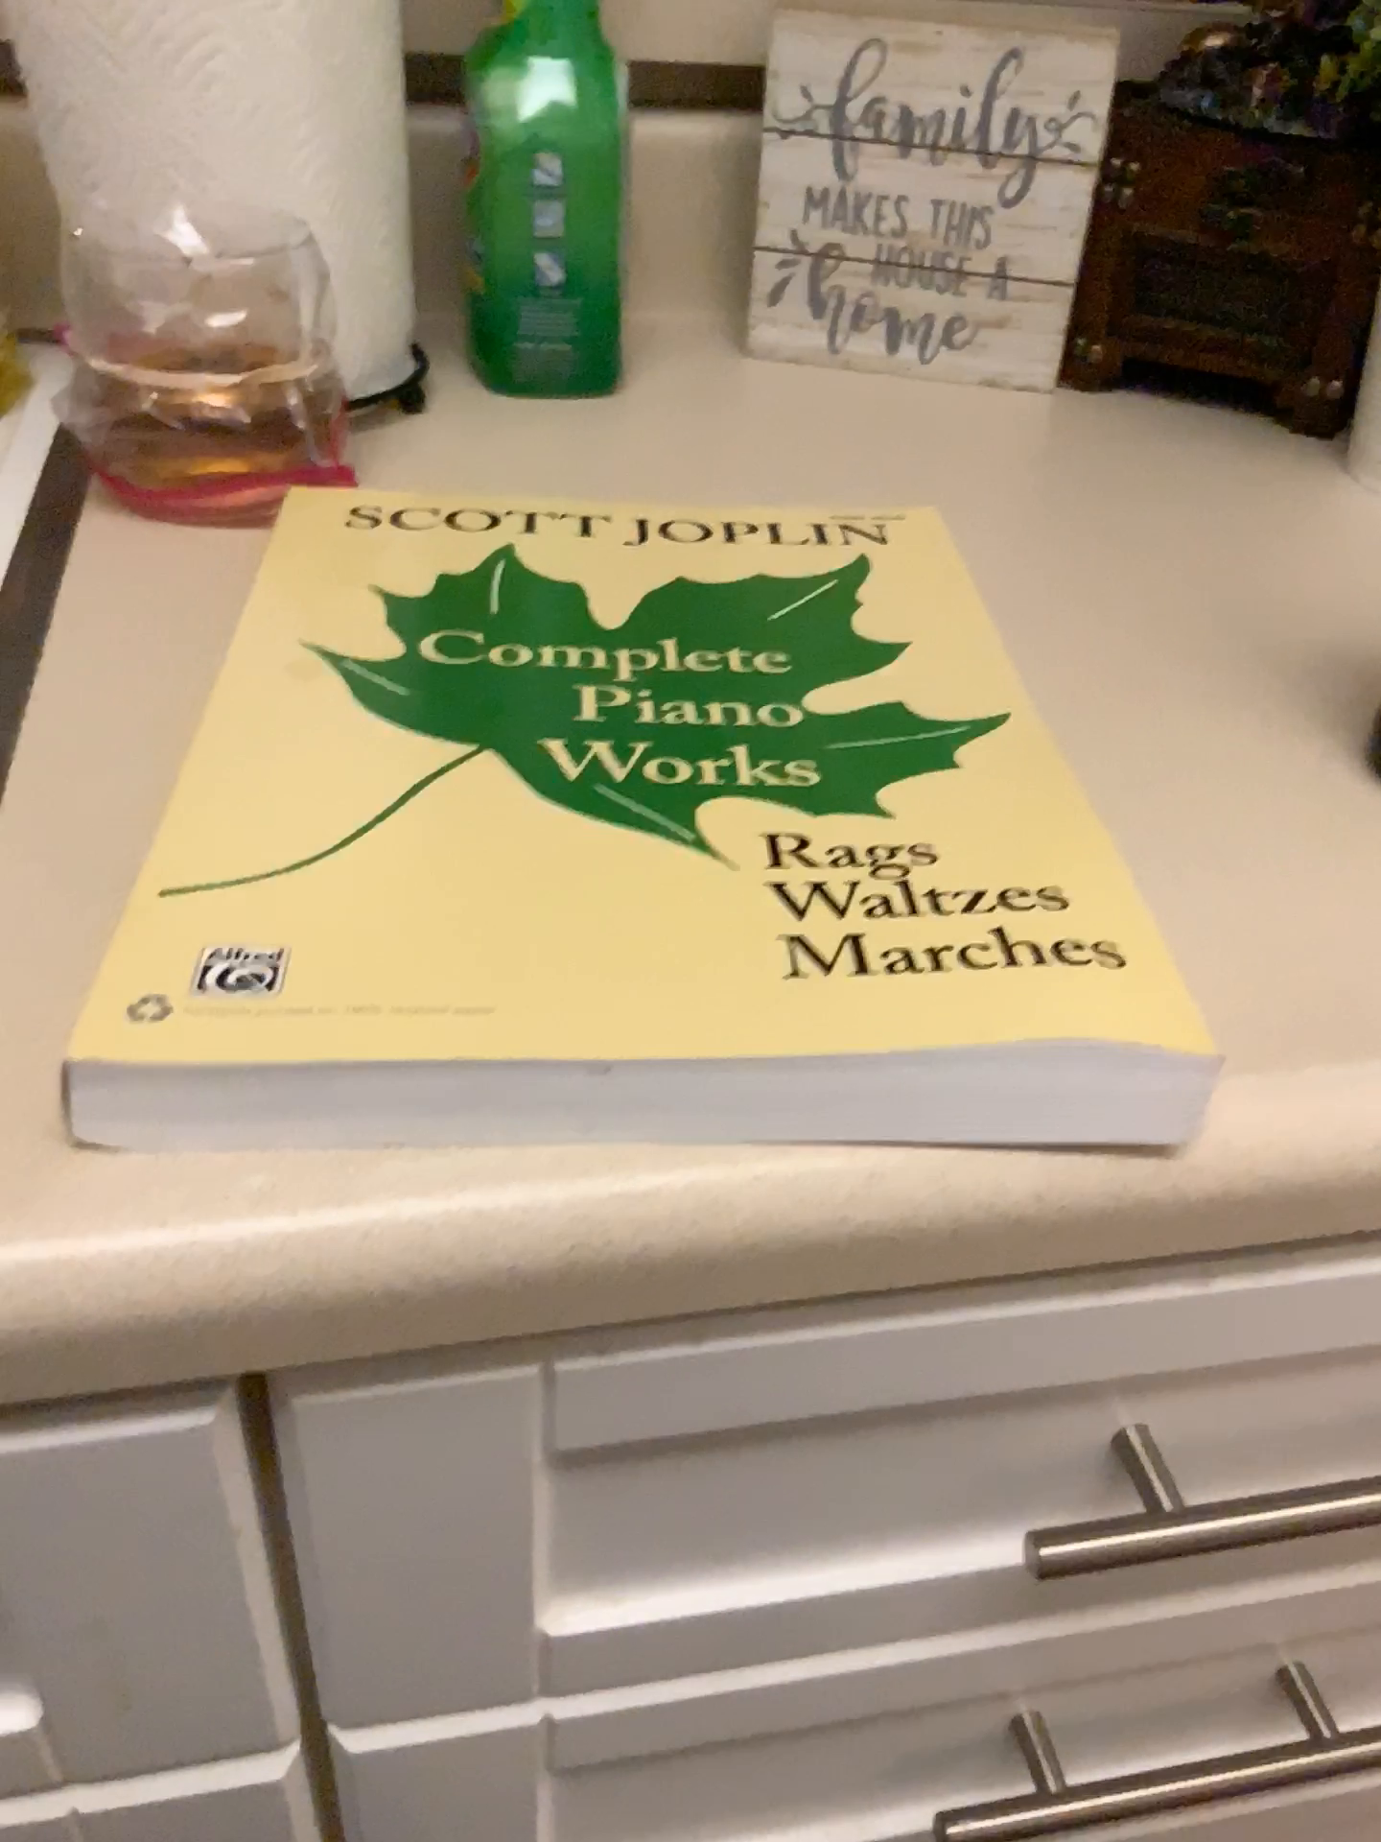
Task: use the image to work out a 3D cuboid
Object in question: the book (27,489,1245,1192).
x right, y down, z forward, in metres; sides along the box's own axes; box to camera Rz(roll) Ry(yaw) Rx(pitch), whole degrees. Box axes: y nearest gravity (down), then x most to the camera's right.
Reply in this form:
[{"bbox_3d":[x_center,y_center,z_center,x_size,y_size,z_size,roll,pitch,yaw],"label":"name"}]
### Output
[{"bbox_3d":[-0.017,-0.049,0.442,0.240,0.030,0.320,1,35,-5],"label":"book"}]
